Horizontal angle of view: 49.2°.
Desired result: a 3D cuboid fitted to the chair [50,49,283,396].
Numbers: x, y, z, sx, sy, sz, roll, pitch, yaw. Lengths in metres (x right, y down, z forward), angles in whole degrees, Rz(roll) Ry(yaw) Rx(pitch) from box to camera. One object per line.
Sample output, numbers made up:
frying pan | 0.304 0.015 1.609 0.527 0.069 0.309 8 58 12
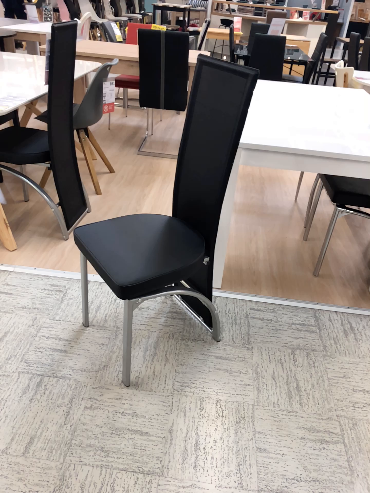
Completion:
chair | -0.096 -0.090 1.395 0.492 1.014 0.451 -16 37 -31
